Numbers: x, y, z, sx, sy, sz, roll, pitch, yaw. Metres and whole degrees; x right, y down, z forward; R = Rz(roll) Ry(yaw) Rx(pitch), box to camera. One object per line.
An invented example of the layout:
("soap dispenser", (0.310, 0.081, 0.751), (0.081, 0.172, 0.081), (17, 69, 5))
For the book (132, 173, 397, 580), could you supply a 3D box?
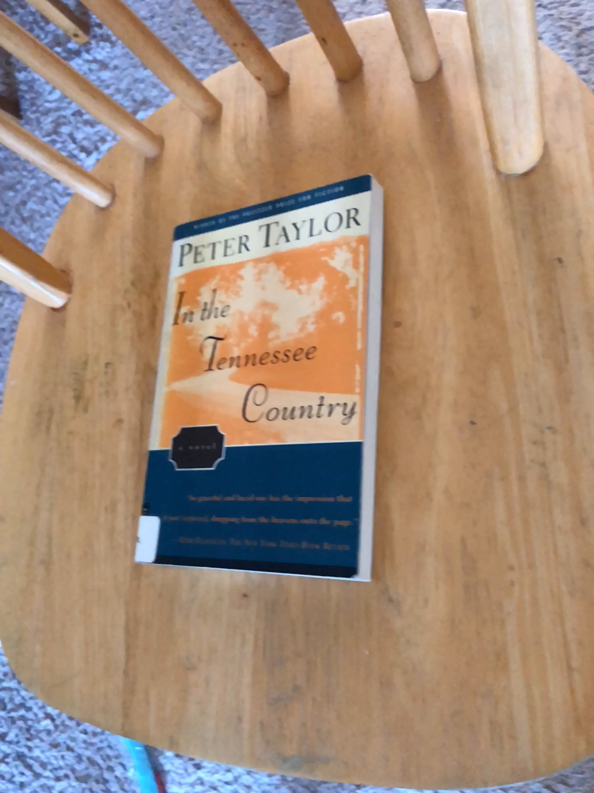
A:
("book", (-0.018, -0.009, 0.359), (0.137, 0.025, 0.200), (-5, 73, 32))
